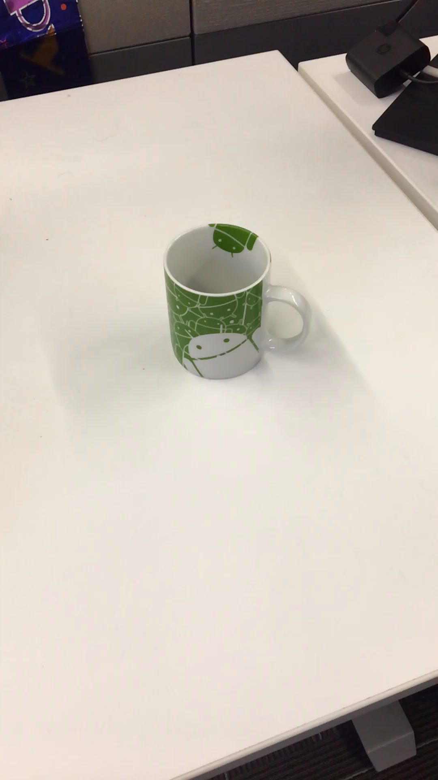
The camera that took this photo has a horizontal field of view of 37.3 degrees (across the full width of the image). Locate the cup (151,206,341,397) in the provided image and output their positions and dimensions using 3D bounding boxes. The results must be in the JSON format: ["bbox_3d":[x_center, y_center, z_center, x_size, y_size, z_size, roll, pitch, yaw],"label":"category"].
[{"bbox_3d":[0.022,-0.070,0.511,0.120,0.090,0.090,13,54,11],"label":"cup"}]
